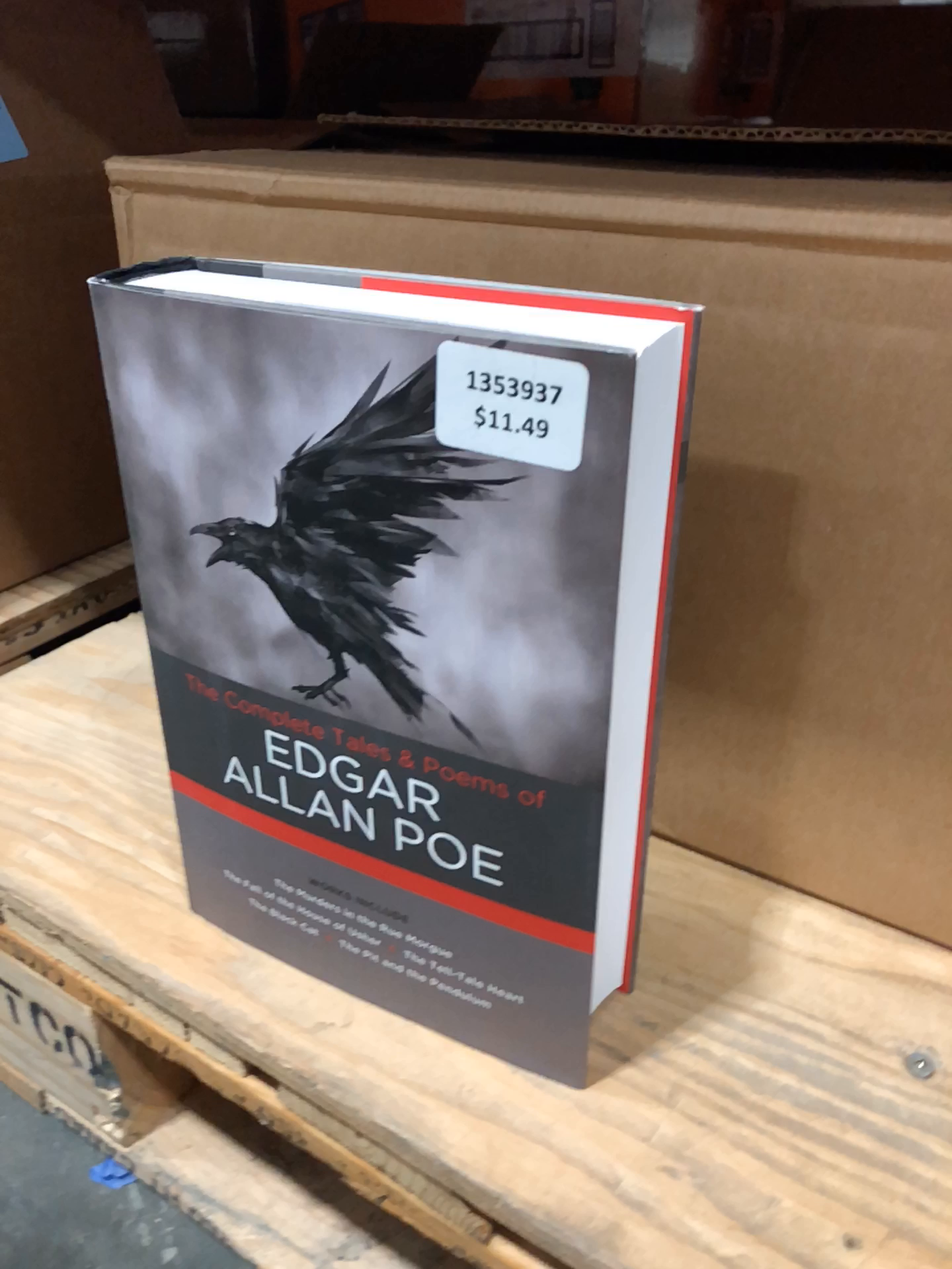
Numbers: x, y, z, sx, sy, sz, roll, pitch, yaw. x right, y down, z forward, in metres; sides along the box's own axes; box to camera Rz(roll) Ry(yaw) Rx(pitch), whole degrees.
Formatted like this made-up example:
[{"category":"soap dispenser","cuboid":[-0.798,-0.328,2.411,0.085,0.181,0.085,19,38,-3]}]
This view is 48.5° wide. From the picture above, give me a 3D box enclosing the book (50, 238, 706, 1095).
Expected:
[{"category":"book","cuboid":[-0.030,0.011,0.337,0.171,0.240,0.054,15,33,26]}]
